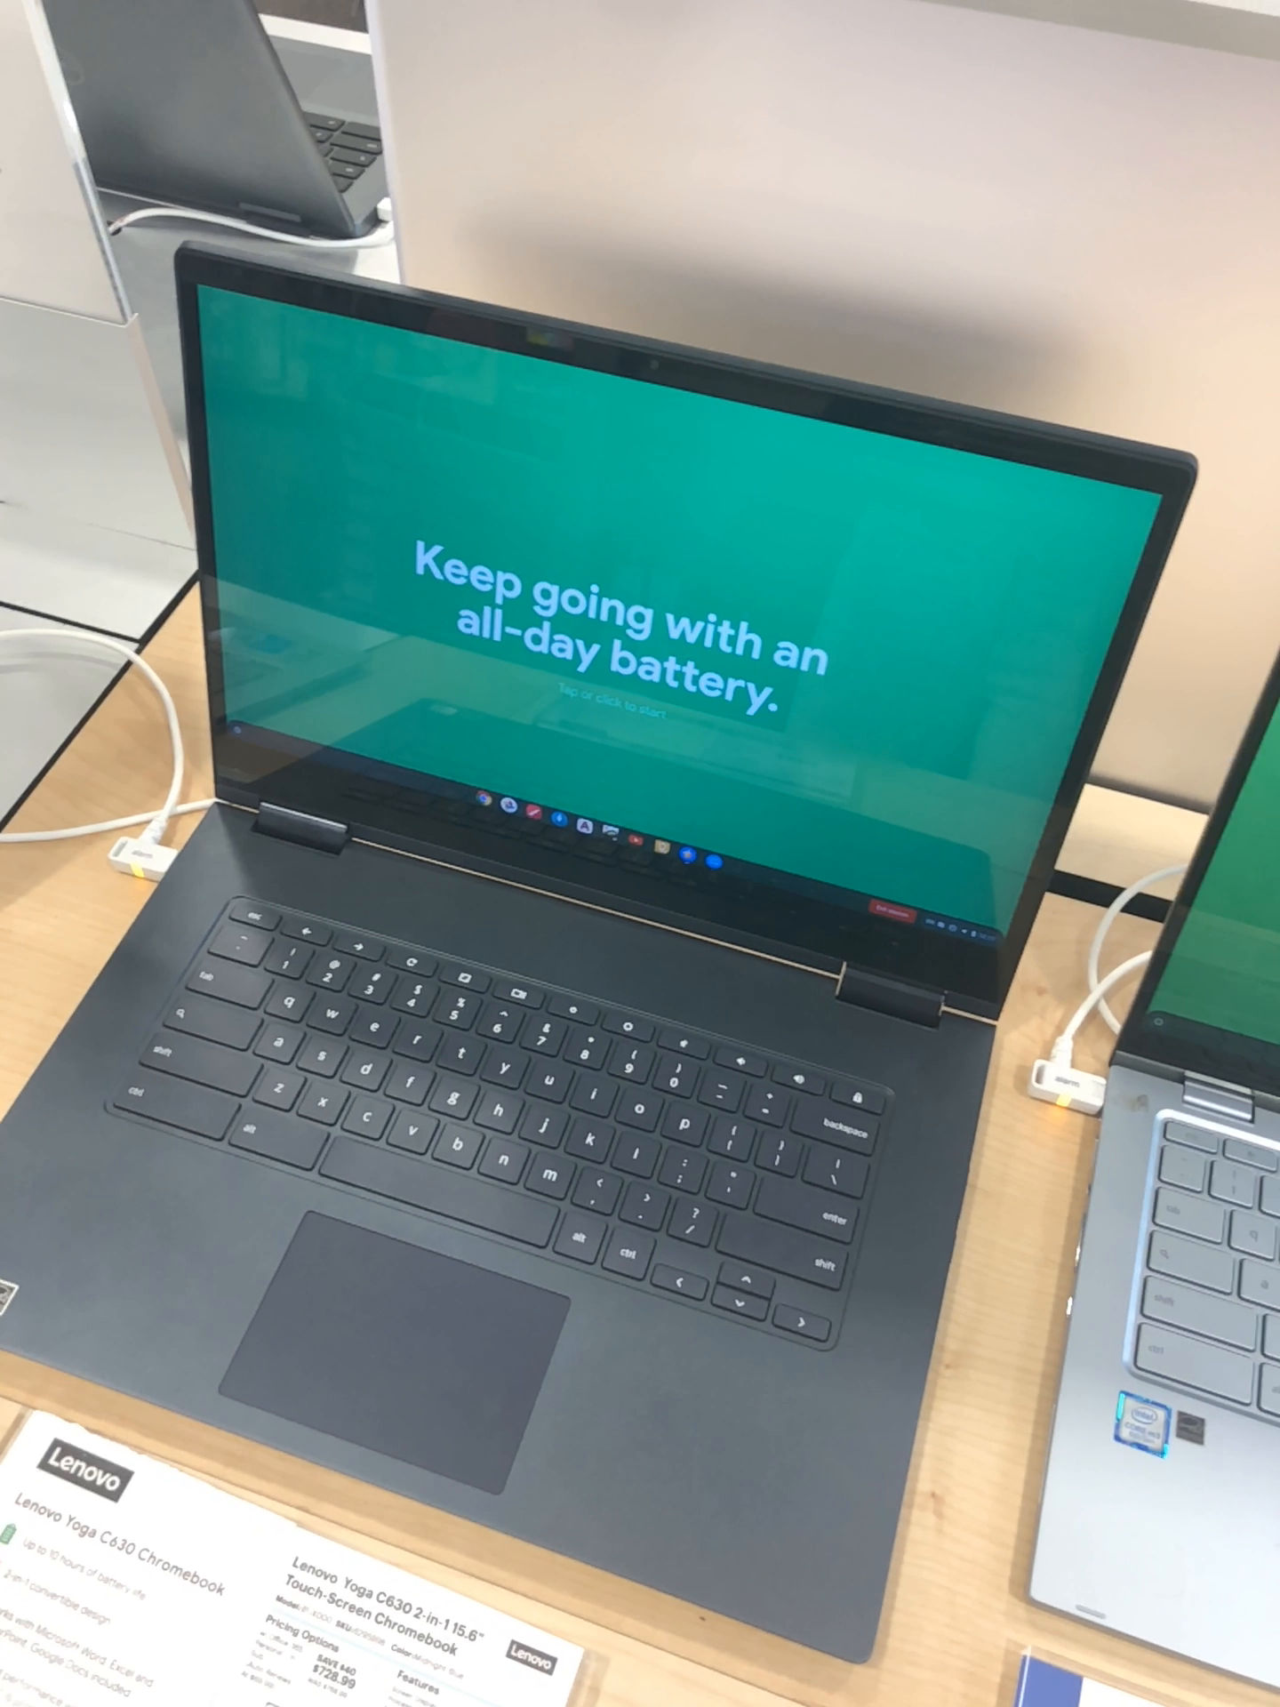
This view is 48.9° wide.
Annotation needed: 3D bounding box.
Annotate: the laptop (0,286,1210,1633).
[{"bbox_3d":[-0.044,0.021,0.458,0.343,0.231,0.293,15,52,11],"label":"laptop"}]
